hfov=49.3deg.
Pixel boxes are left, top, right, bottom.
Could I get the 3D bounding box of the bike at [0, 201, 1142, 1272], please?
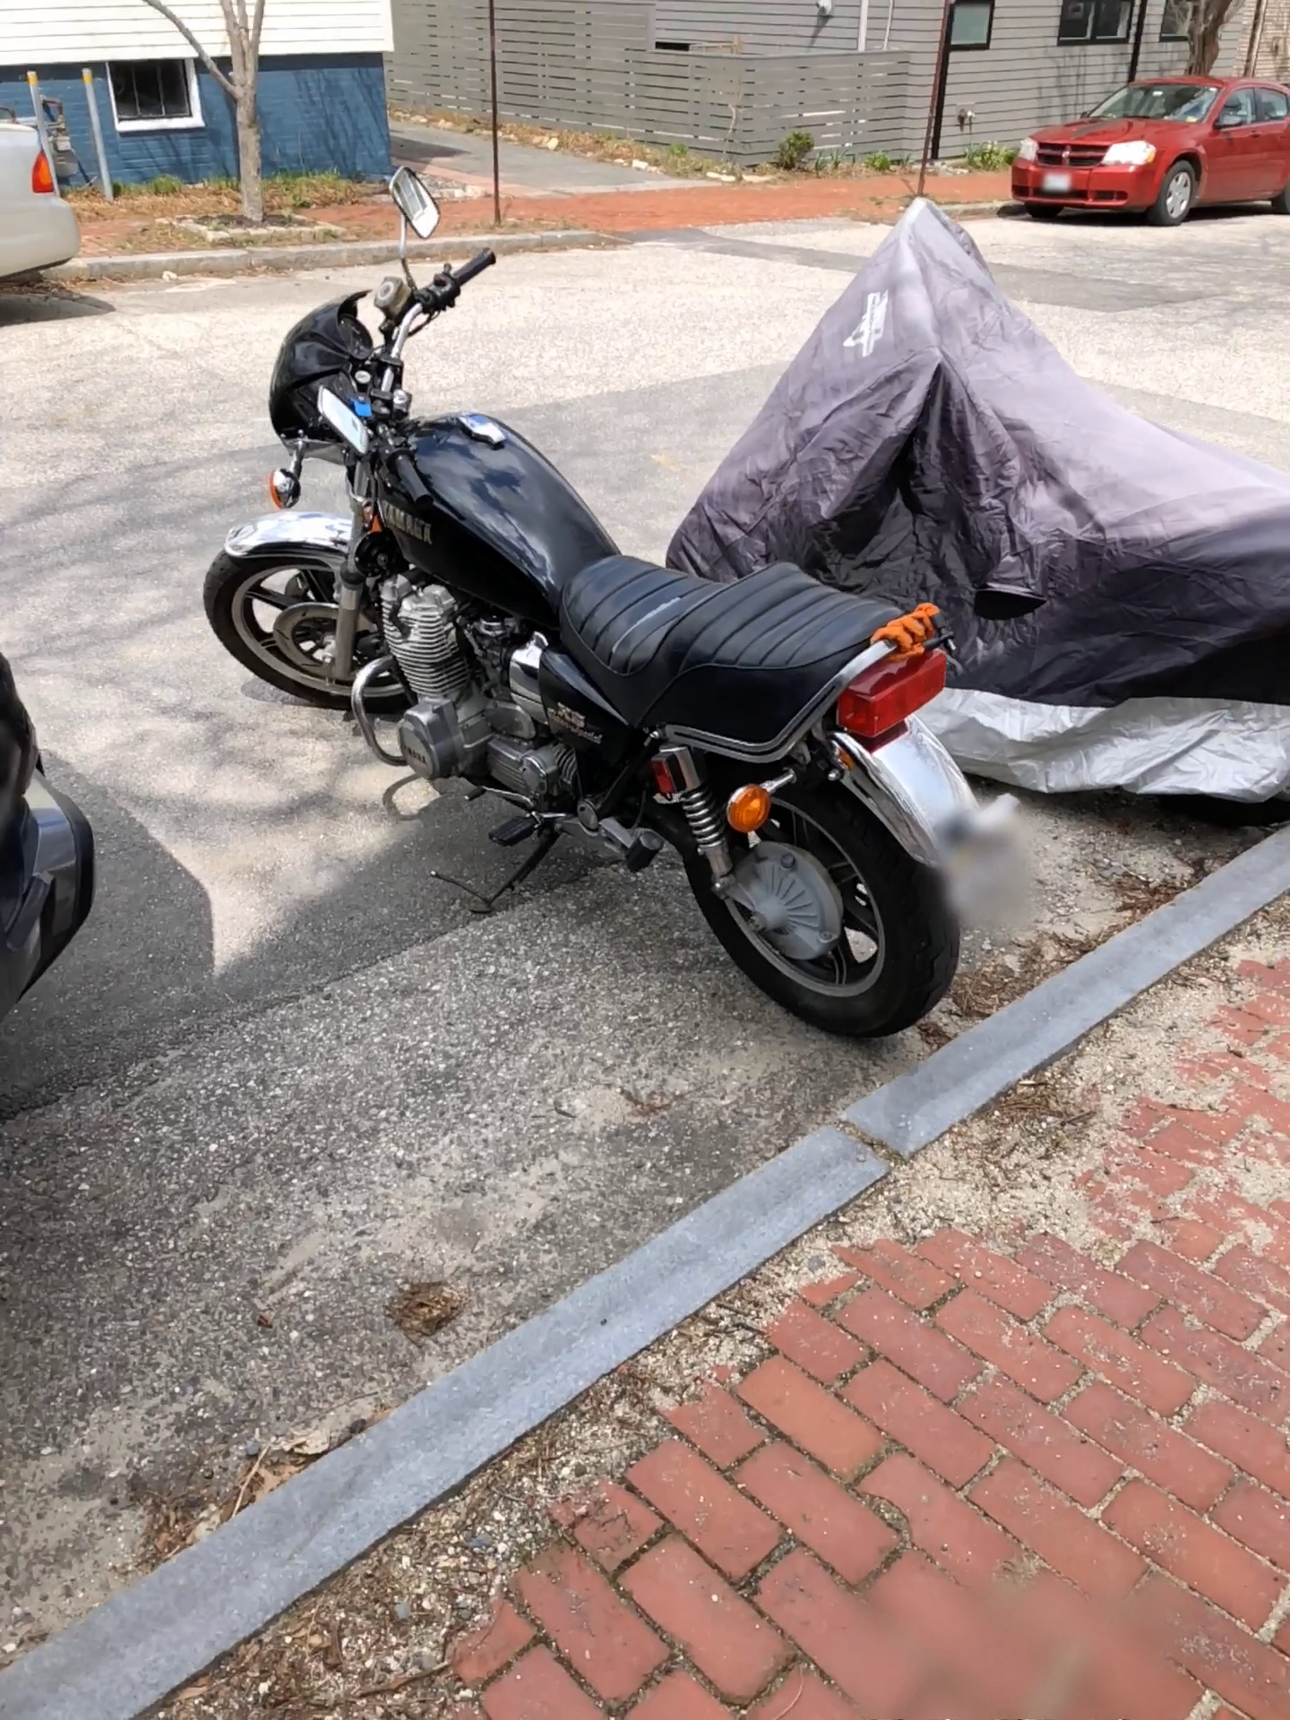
[{"bbox_3d":[-0.344,-0.447,2.935,2.301,1.418,0.689,28,41,36],"label":"bike"}]
